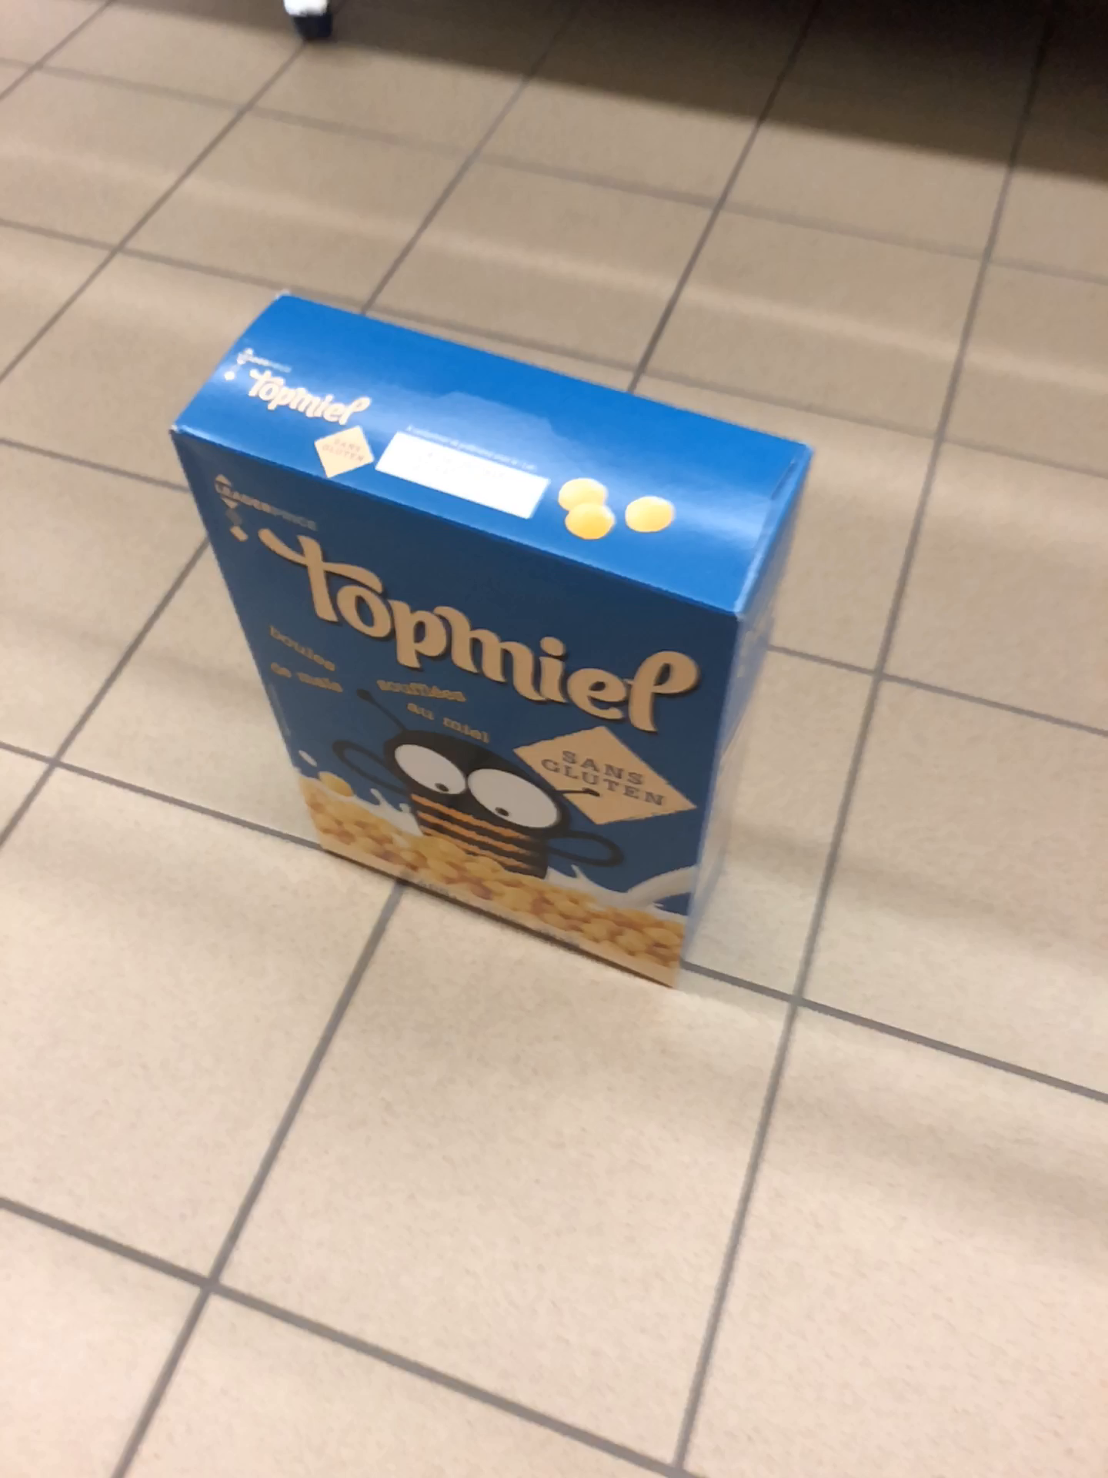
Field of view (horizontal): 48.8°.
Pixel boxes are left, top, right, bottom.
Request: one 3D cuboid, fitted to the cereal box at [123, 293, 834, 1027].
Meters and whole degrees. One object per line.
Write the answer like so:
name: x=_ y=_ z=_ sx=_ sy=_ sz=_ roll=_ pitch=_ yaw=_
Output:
cereal box: x=-0.022 y=-0.010 z=0.484 sx=0.200 sy=0.279 sz=0.080 roll=17 pitch=57 yaw=12
